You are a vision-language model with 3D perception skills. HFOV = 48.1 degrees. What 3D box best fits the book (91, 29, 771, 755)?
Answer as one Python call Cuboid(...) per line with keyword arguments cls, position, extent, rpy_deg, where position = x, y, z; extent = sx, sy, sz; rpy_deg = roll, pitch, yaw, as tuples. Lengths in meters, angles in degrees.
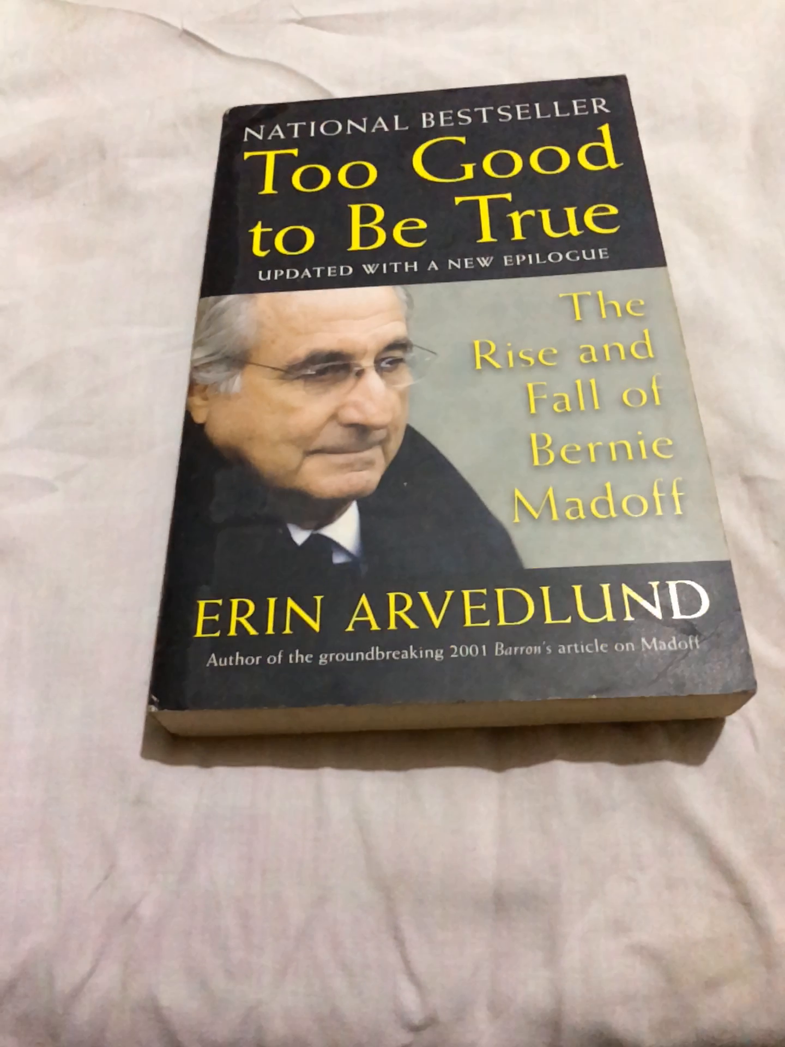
Cuboid(cls="book", position=(0.006, -0.054, 0.261), extent=(0.150, 0.030, 0.230), rpy_deg=(-4, 62, 5))
